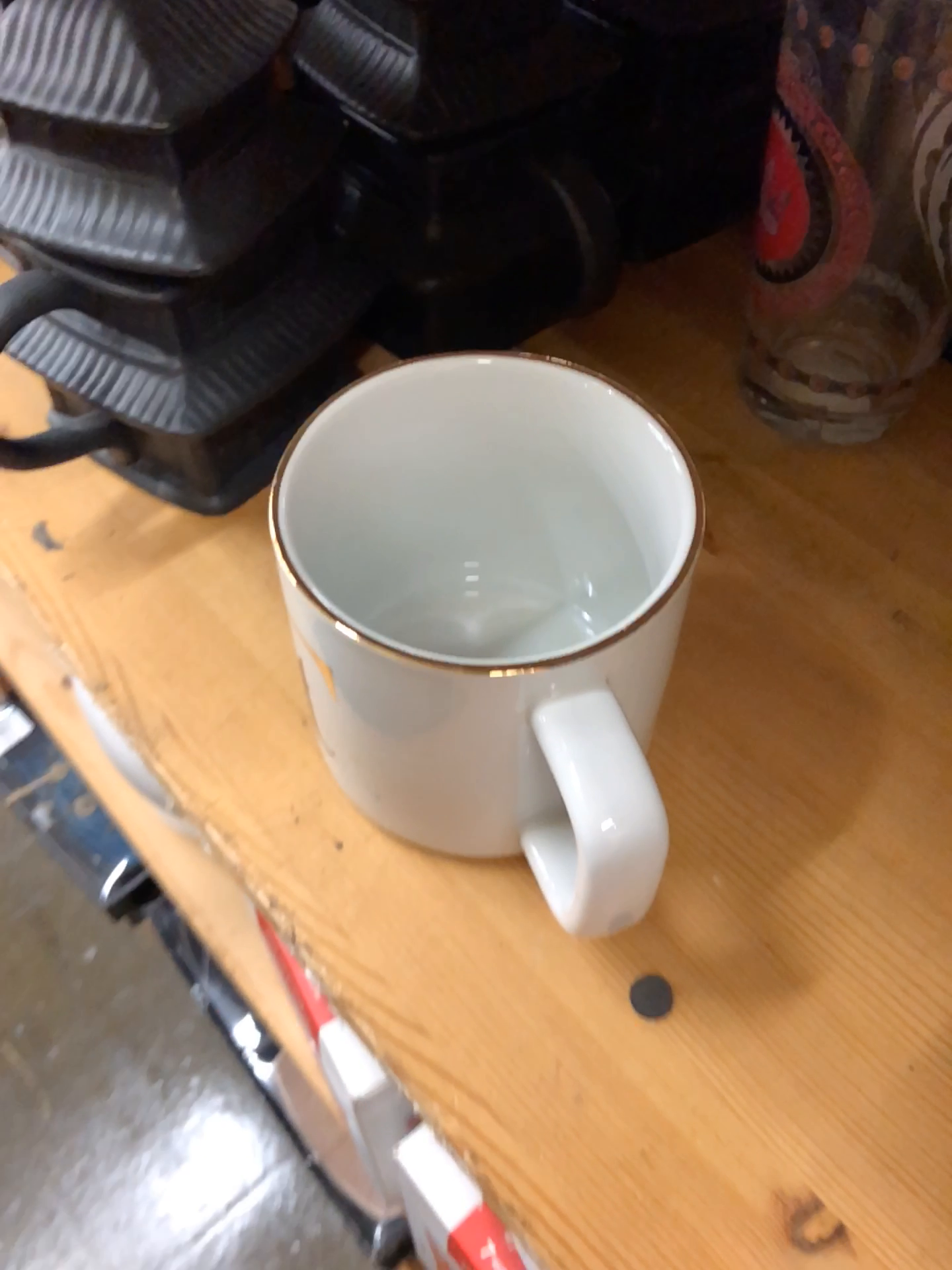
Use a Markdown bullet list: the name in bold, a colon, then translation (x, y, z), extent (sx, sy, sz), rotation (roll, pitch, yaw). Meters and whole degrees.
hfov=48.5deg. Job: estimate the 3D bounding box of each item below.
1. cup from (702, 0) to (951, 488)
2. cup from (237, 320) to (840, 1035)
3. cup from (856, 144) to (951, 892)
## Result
- **cup**: translation (0.121, -0.123, 0.299), extent (0.078, 0.134, 0.093), rotation (0, 53, 0)
- **cup**: translation (0.004, 0.007, 0.241), extent (0.088, 0.084, 0.123), rotation (-11, 54, -8)
- **cup**: translation (0.158, -0.023, 0.226), extent (0.078, 0.104, 0.093), rotation (-27, 58, -18)
